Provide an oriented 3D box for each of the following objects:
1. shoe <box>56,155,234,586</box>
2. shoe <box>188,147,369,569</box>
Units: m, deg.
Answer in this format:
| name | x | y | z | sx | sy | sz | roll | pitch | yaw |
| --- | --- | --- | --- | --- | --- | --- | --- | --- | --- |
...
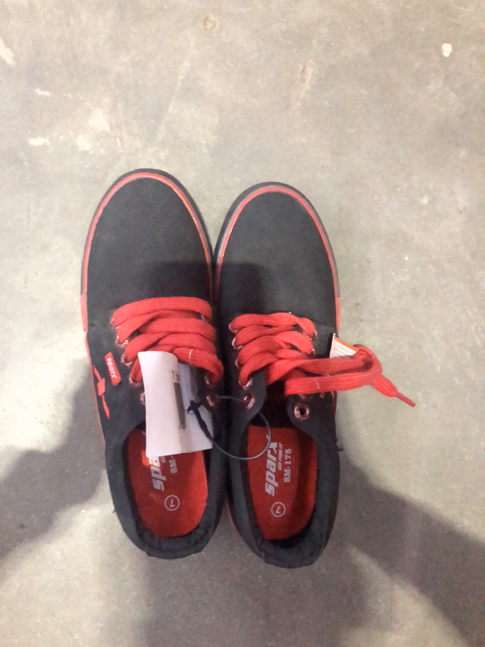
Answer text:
| name | x | y | z | sx | sy | sz | roll | pitch | yaw |
| --- | --- | --- | --- | --- | --- | --- | --- | --- | --- |
| shoe | -0.074 | 0.027 | 0.376 | 0.100 | 0.100 | 0.250 | -1 | 88 | -20 |
| shoe | 0.019 | 0.022 | 0.373 | 0.100 | 0.100 | 0.250 | 3 | 87 | -5 |
